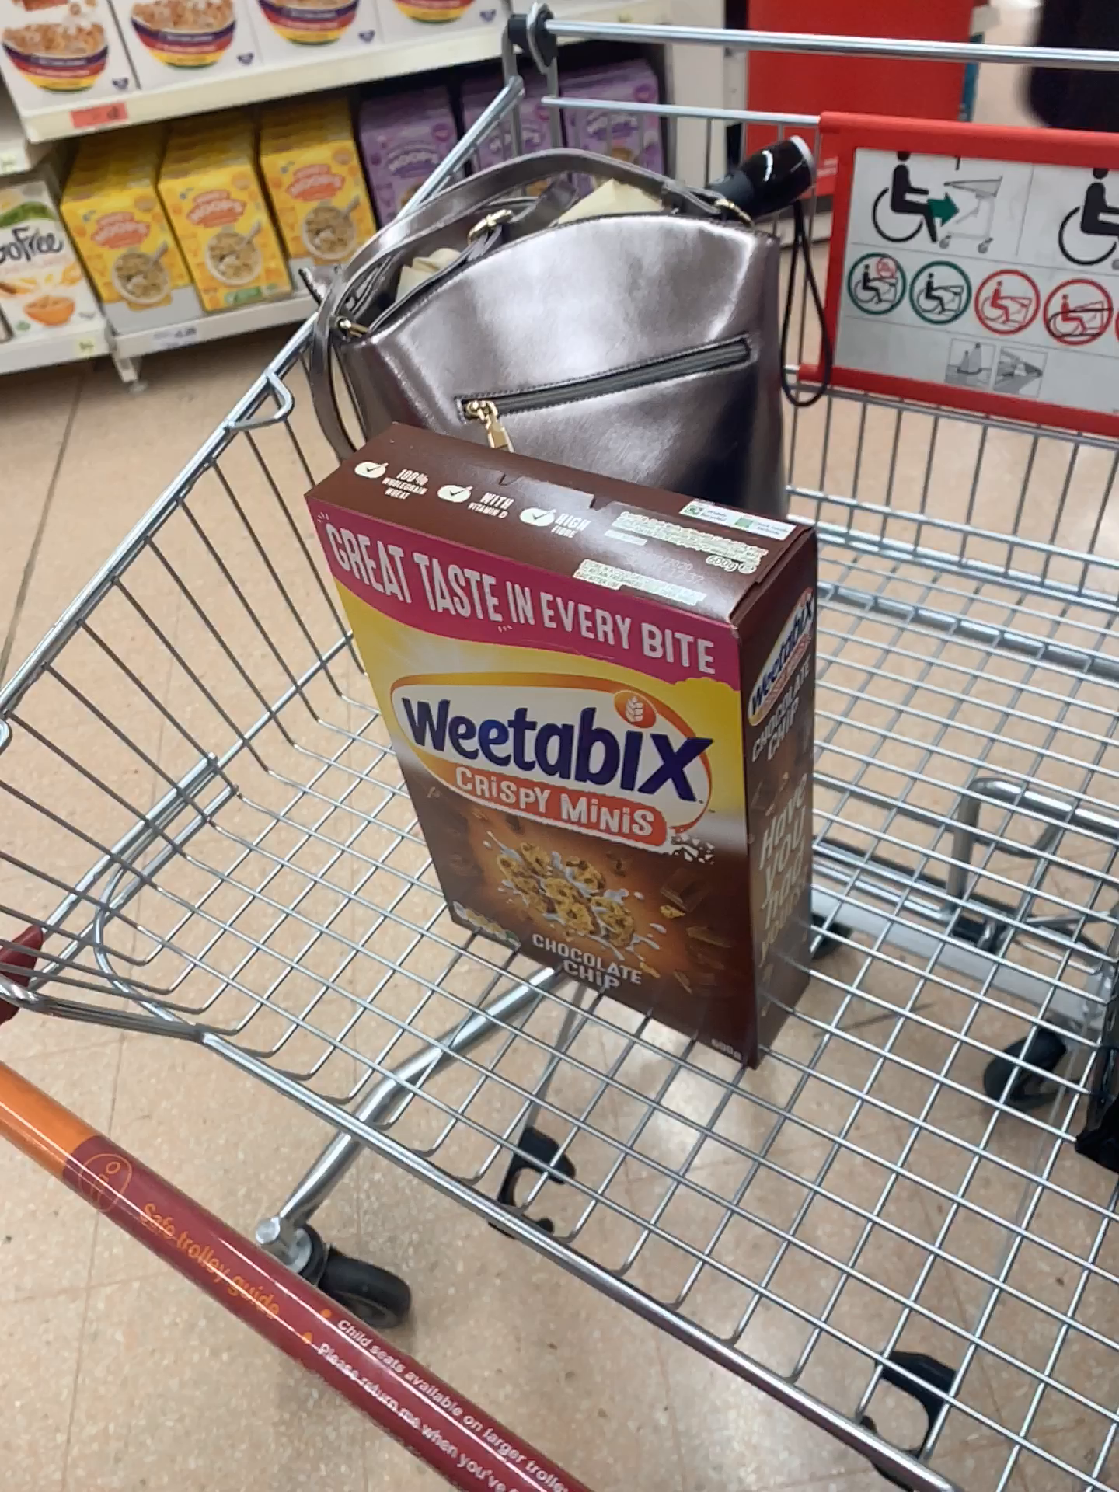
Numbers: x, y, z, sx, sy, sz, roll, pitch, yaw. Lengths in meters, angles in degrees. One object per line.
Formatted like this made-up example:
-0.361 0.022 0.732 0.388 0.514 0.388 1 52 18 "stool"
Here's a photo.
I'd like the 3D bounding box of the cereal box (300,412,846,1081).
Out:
0.014 0.012 0.503 0.191 0.278 0.060 21 53 26 "cereal box"
